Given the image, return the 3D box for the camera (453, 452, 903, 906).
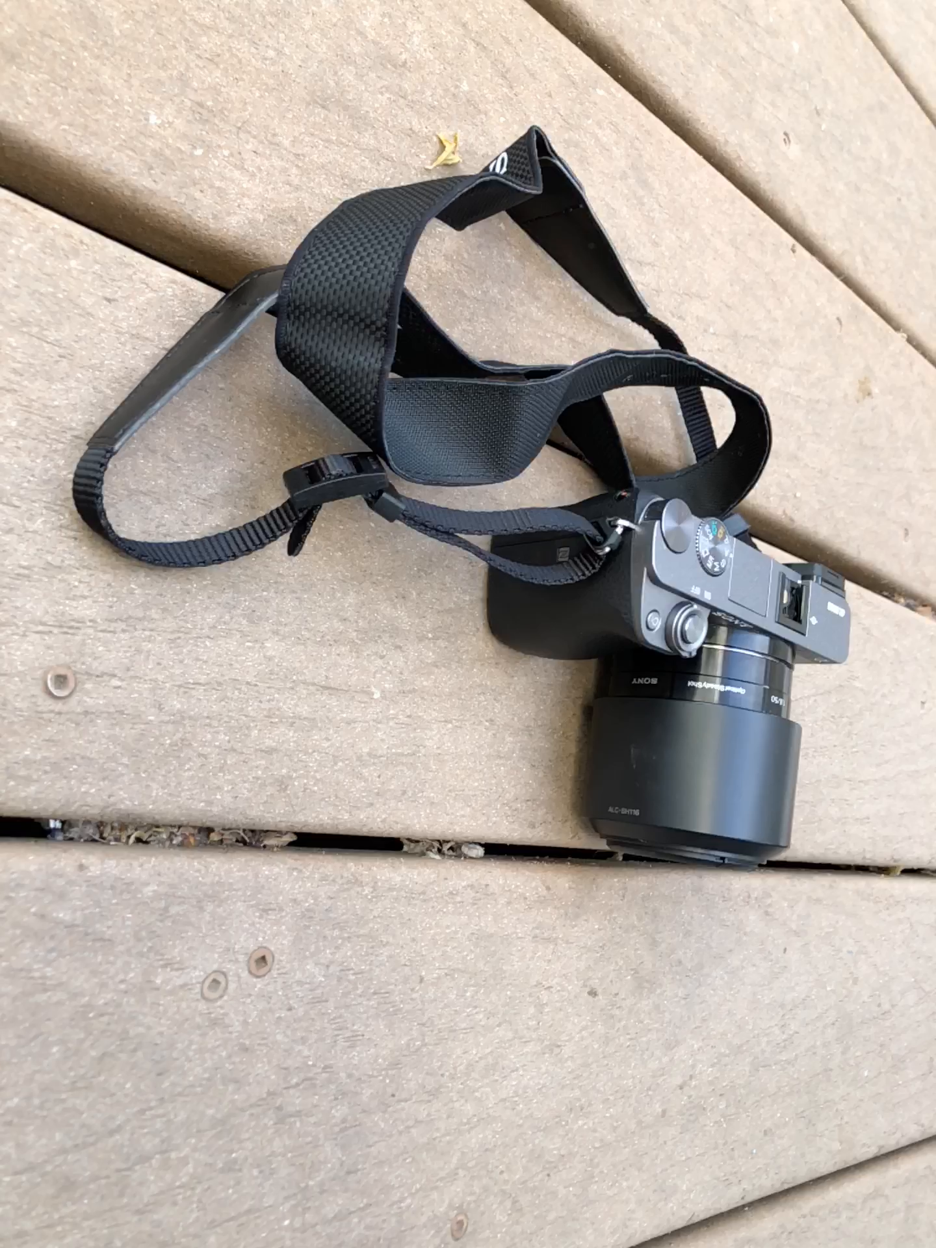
[{"bbox_3d":[0.073,0.025,0.330,0.131,0.070,0.110,19,75,-43],"label":"camera"}]
